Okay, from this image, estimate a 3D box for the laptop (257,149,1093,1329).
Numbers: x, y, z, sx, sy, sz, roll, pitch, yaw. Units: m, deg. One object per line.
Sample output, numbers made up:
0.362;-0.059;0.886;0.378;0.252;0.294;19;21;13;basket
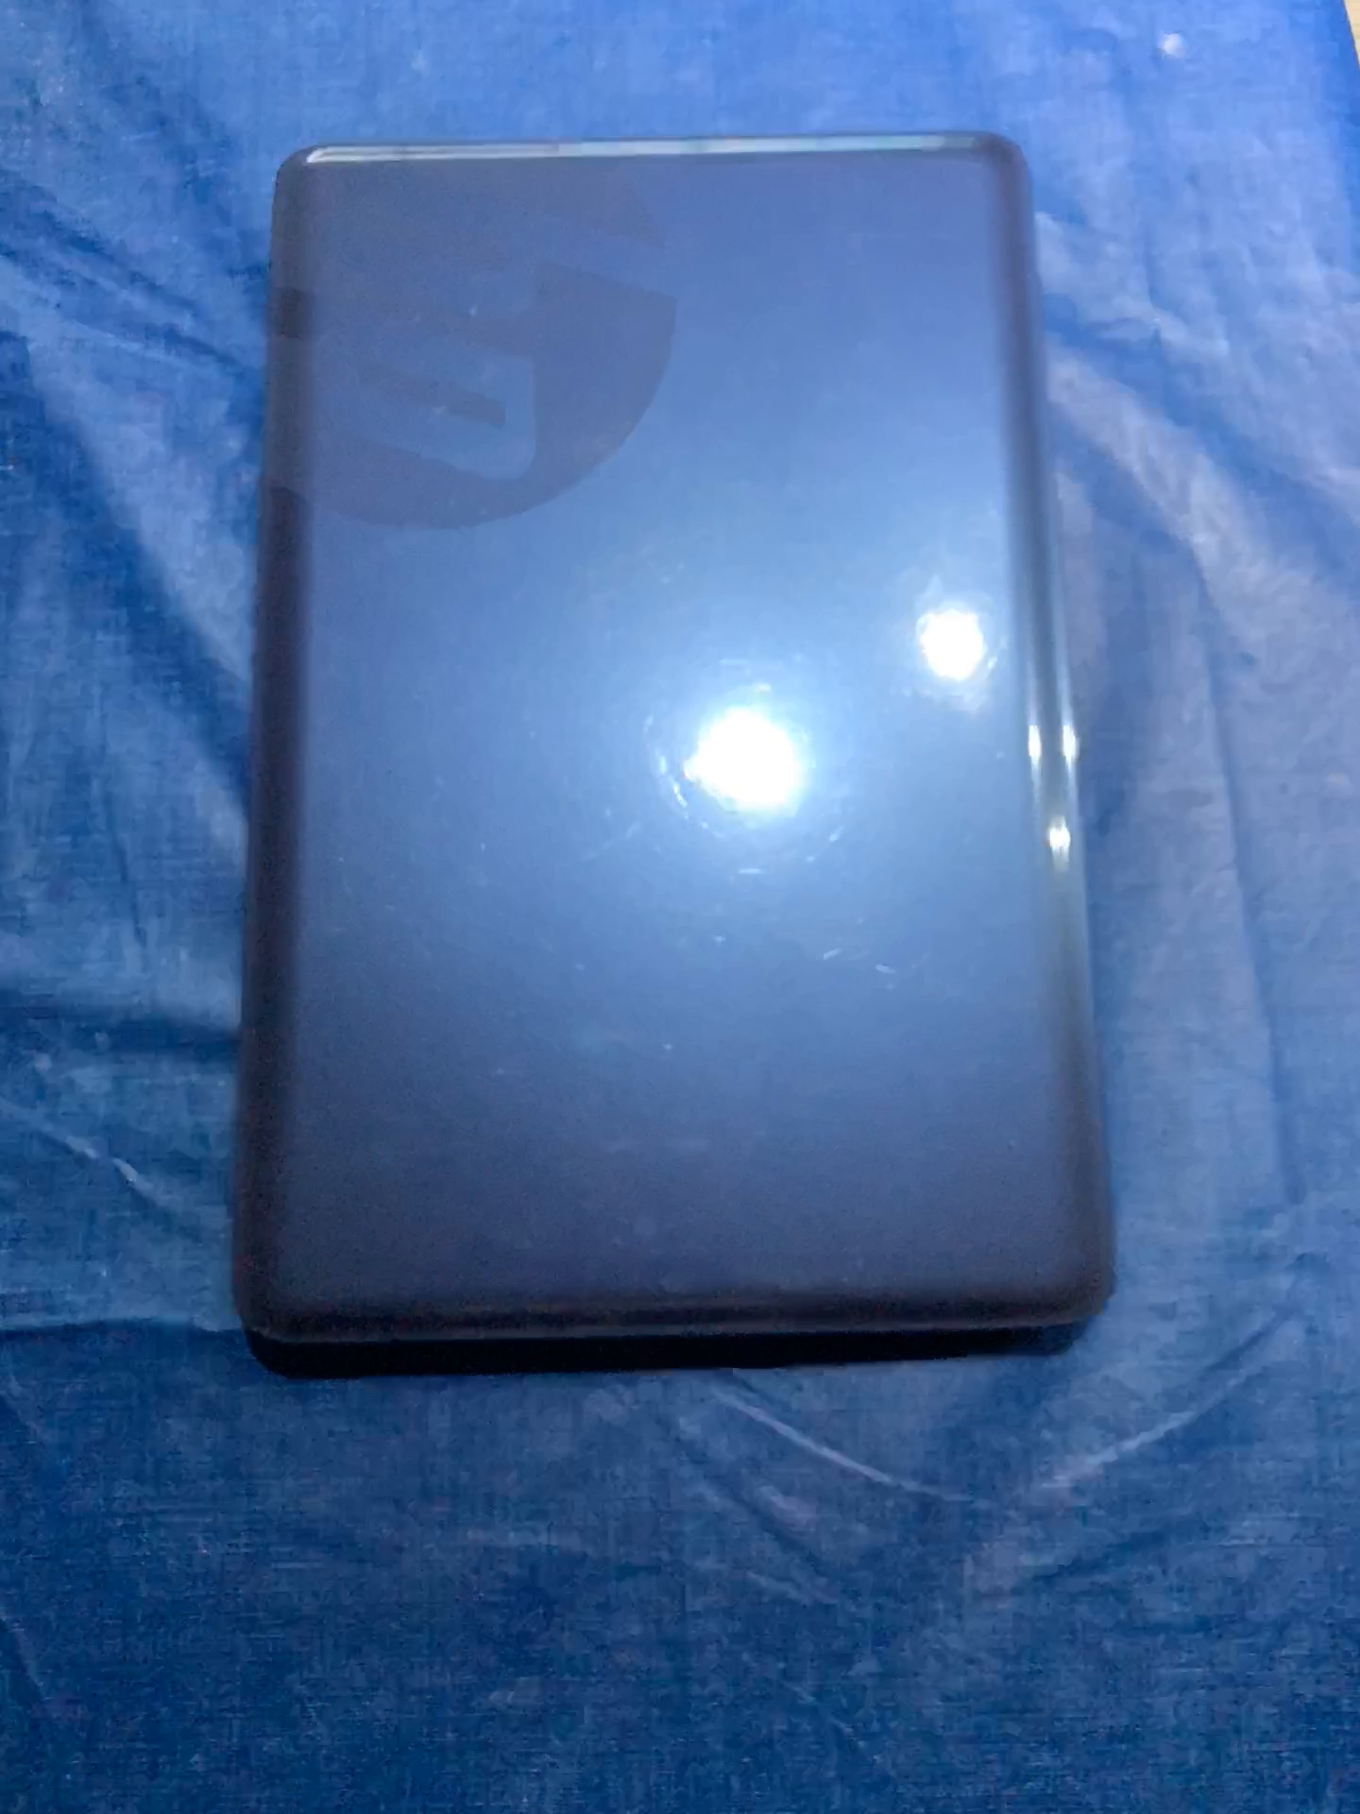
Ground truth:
-0.005;-0.063;0.432;0.235;0.009;0.363;-1;80;-1;laptop
